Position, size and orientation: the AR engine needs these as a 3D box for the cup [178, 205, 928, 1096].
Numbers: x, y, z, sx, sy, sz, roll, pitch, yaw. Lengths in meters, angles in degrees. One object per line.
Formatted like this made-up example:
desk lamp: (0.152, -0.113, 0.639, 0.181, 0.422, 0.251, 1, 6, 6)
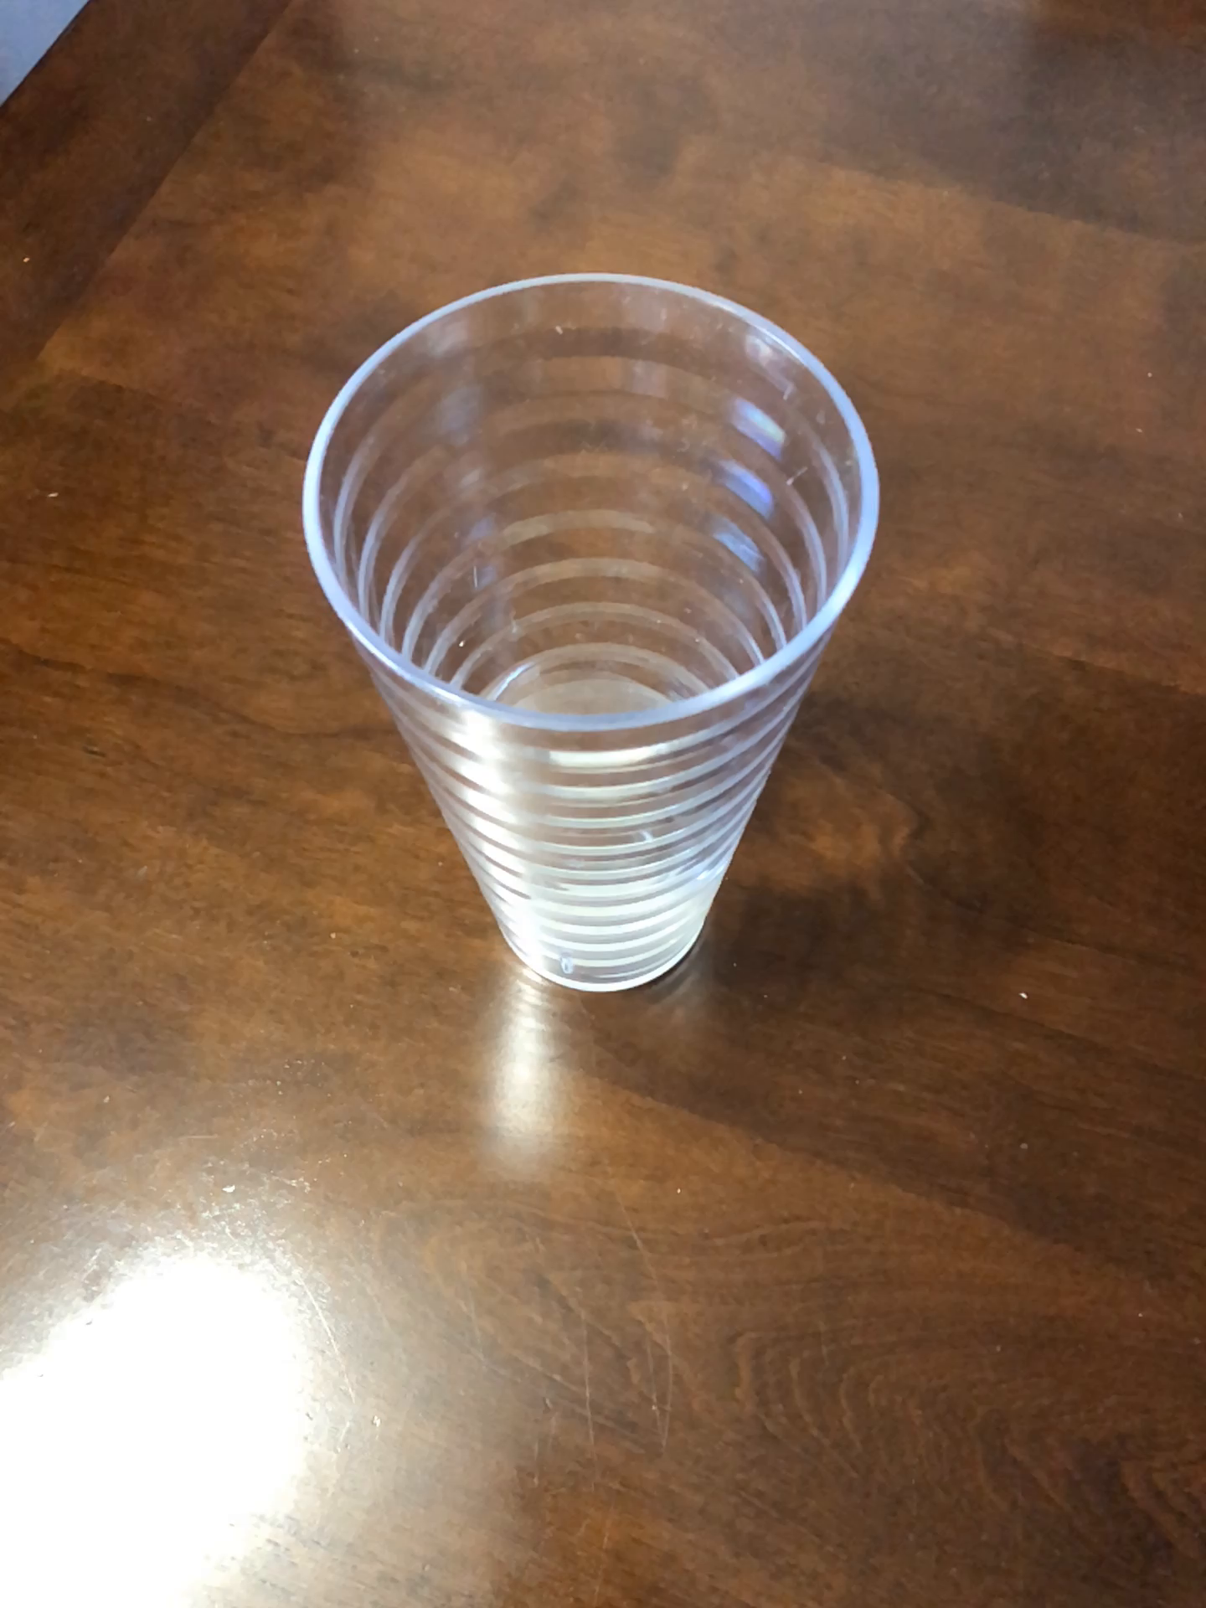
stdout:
cup: (-0.004, -0.018, 0.309, 0.100, 0.180, 0.100, 0, 63, 1)
